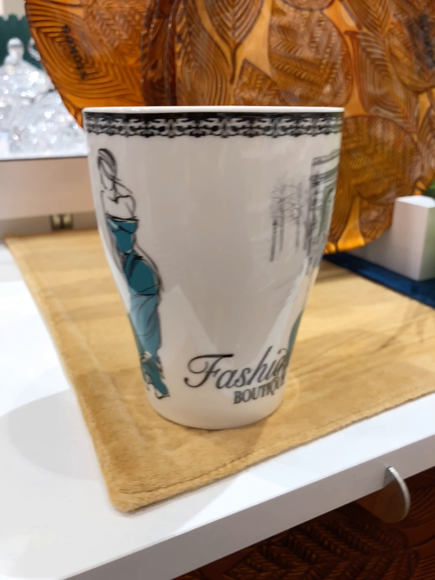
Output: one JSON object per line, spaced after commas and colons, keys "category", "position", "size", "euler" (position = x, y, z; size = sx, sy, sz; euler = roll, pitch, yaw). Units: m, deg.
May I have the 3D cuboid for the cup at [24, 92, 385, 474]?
{"category": "cup", "position": [0.006, -0.018, 0.186], "size": [0.080, 0.100, 0.110], "euler": [10, 22, 27]}
